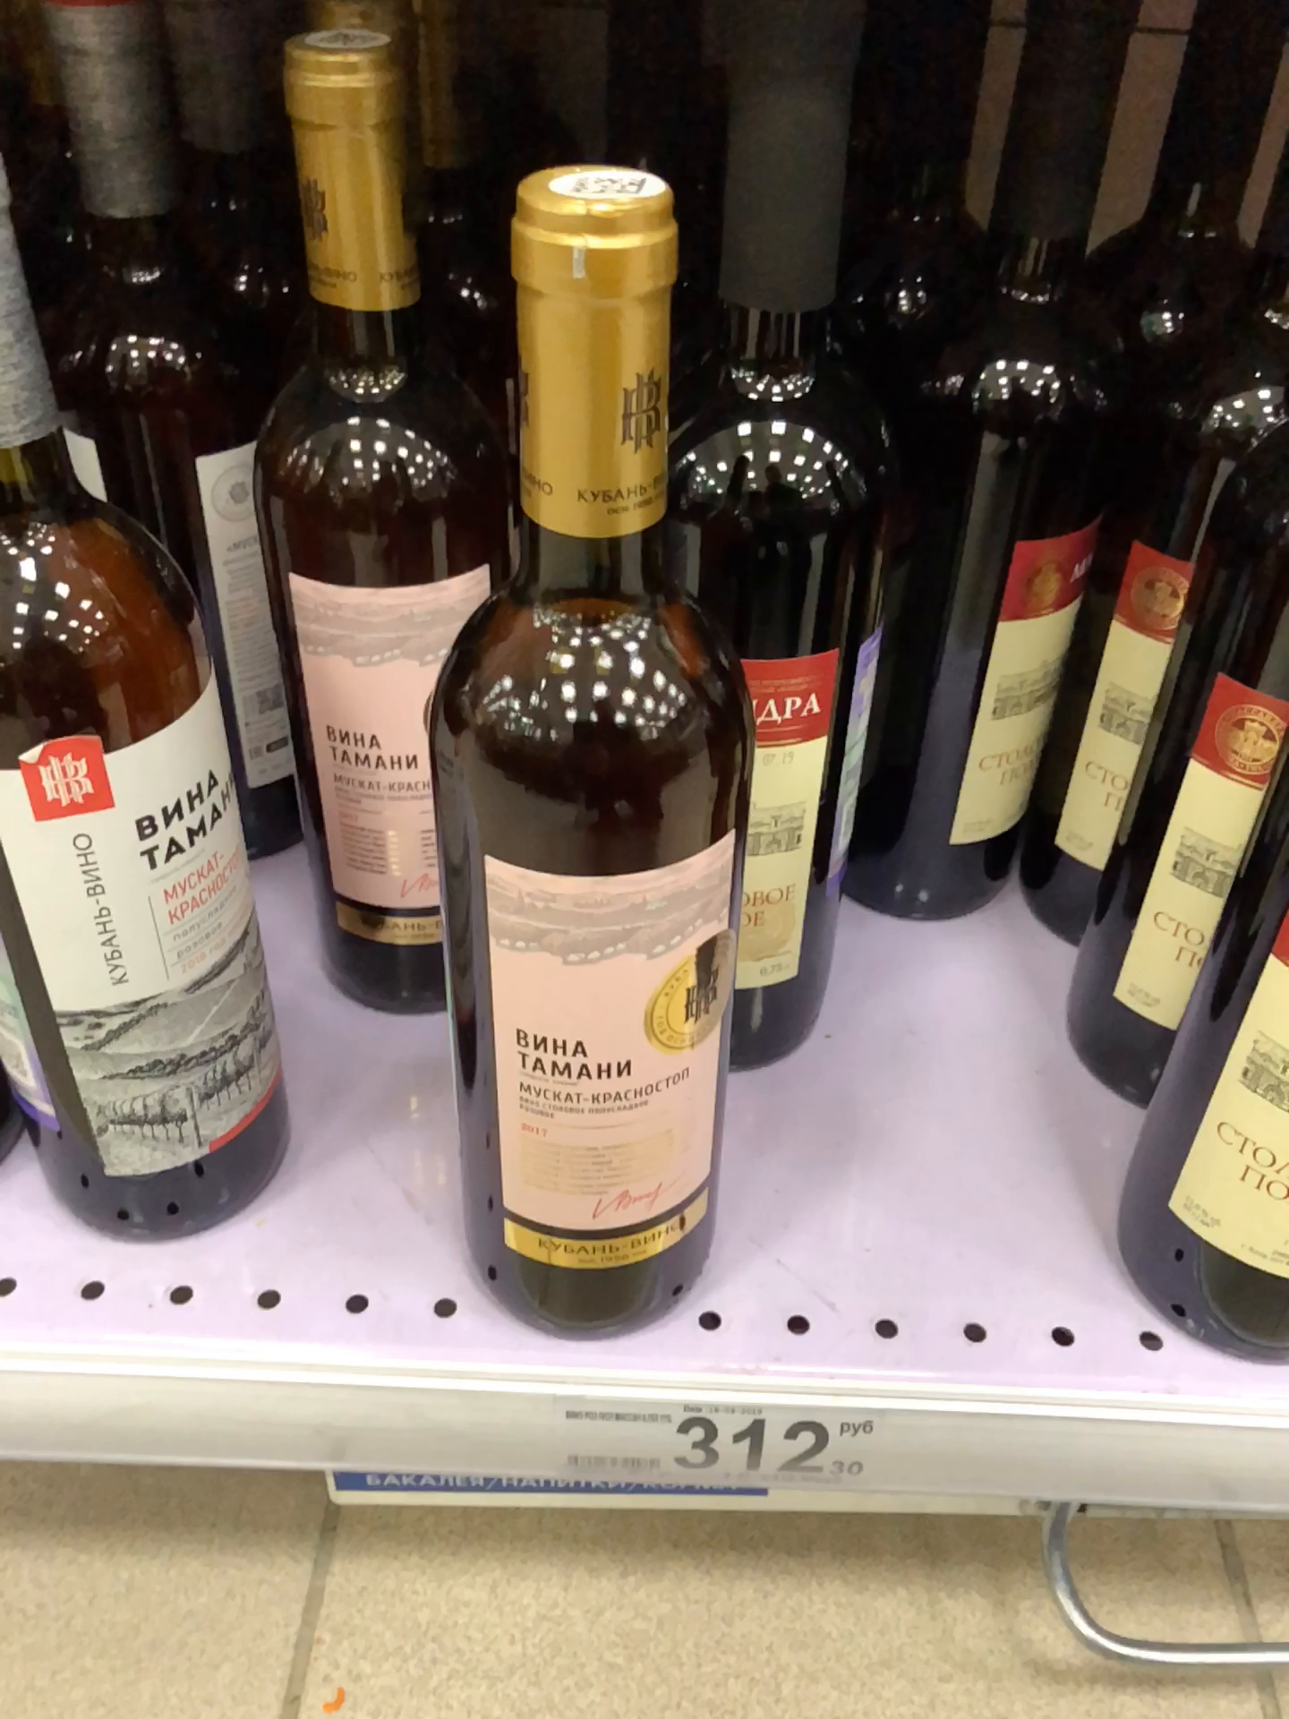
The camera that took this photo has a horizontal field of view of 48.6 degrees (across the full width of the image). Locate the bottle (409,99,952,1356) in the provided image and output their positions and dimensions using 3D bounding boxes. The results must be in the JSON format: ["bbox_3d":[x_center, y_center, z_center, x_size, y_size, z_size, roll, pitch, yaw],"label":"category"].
[{"bbox_3d":[-0.004,-0.004,0.325,0.080,0.290,0.070,-3,39,-7],"label":"bottle"}]
